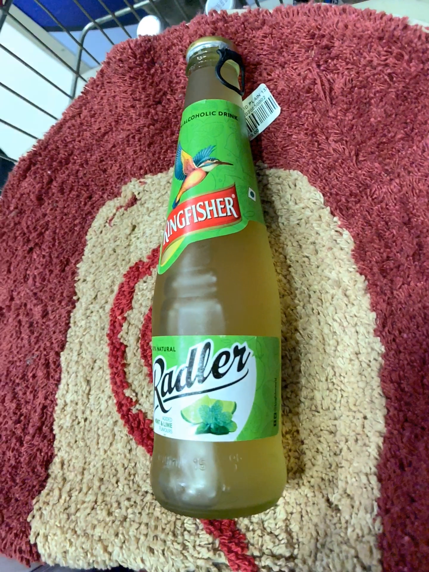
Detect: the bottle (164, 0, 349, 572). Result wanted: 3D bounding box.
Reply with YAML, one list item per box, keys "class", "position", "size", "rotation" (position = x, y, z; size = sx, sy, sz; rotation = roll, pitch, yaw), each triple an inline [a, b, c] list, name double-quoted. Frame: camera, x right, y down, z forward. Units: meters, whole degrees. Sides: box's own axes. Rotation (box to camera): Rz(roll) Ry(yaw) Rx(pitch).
- class: "bottle"
  position: [0.021, -0.018, 0.205]
  size: [0.060, 0.060, 0.240]
  rotation: [-4, 80, 27]
